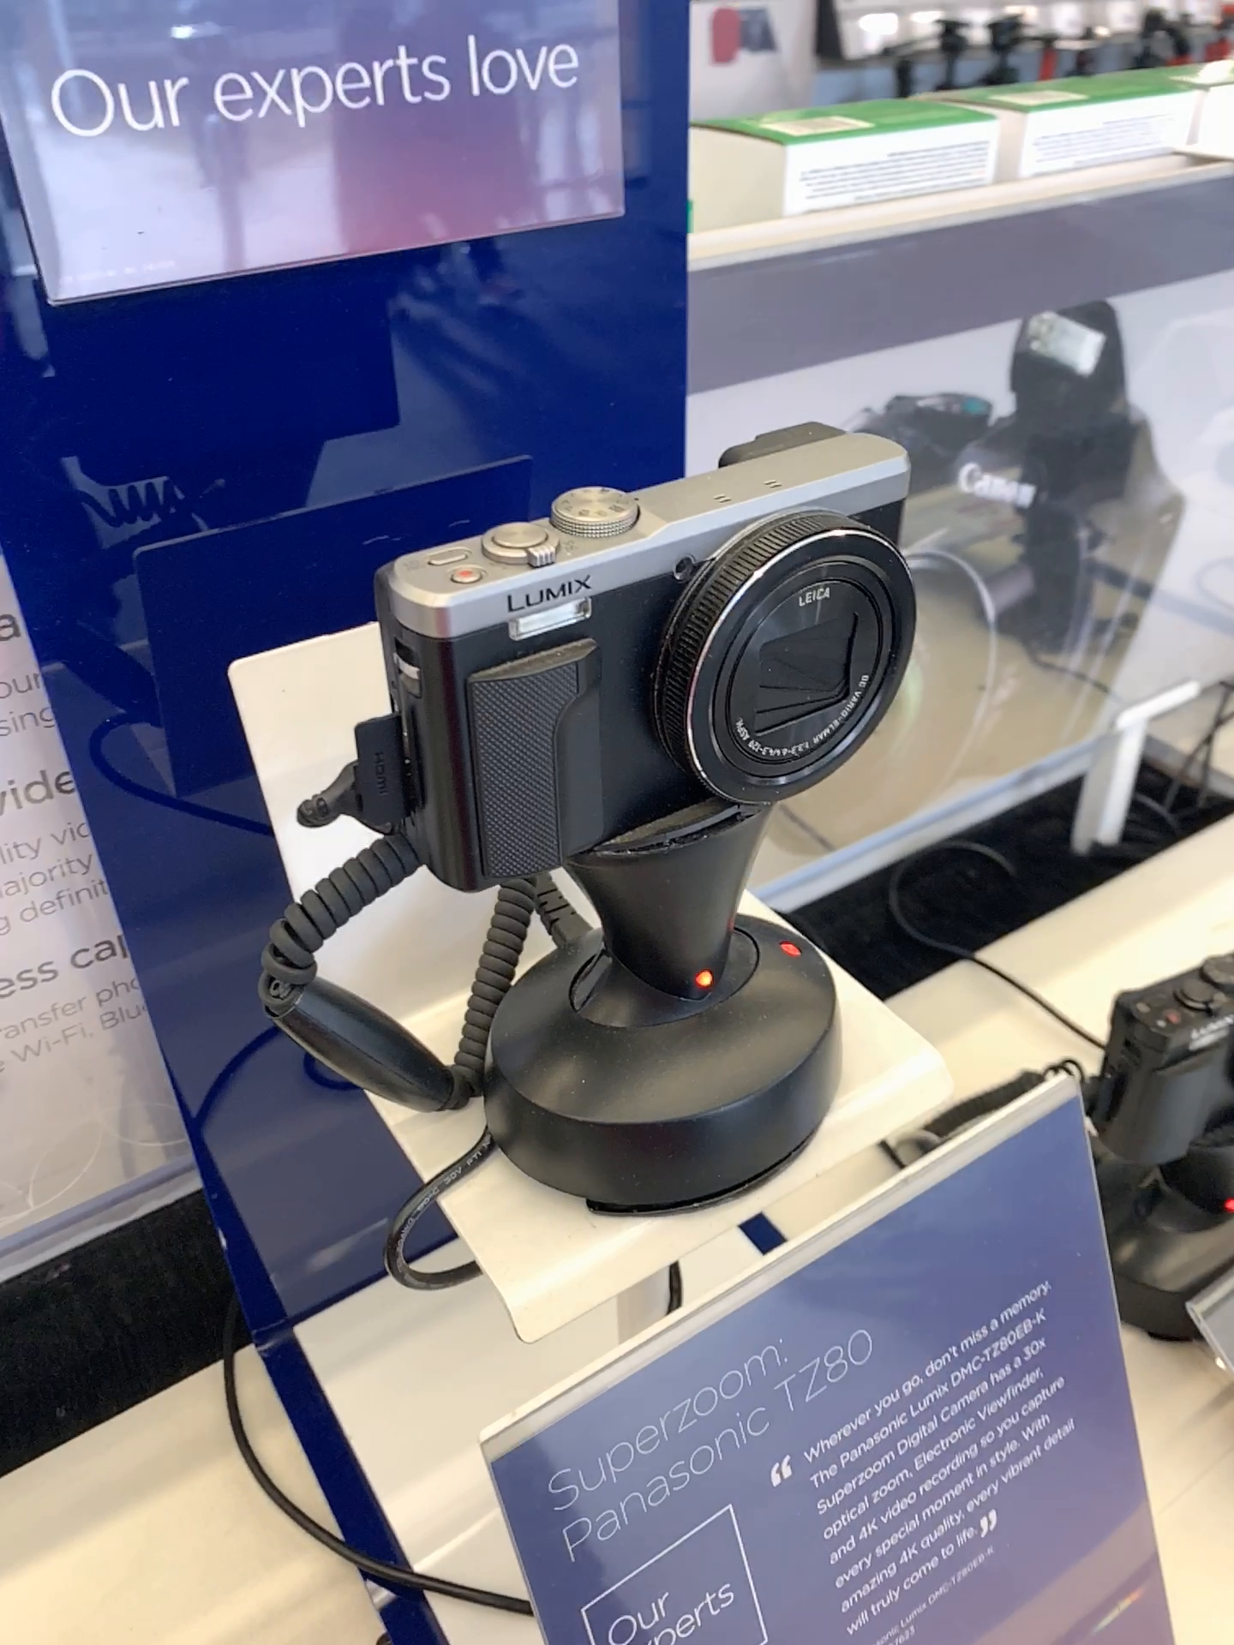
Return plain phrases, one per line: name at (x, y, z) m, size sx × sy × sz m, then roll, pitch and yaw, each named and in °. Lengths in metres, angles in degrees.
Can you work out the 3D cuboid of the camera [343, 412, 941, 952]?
camera at (0.008, -0.031, 0.247) m, size 0.110 × 0.069 × 0.030 m, roll -22°, pitch 40°, yaw -28°
